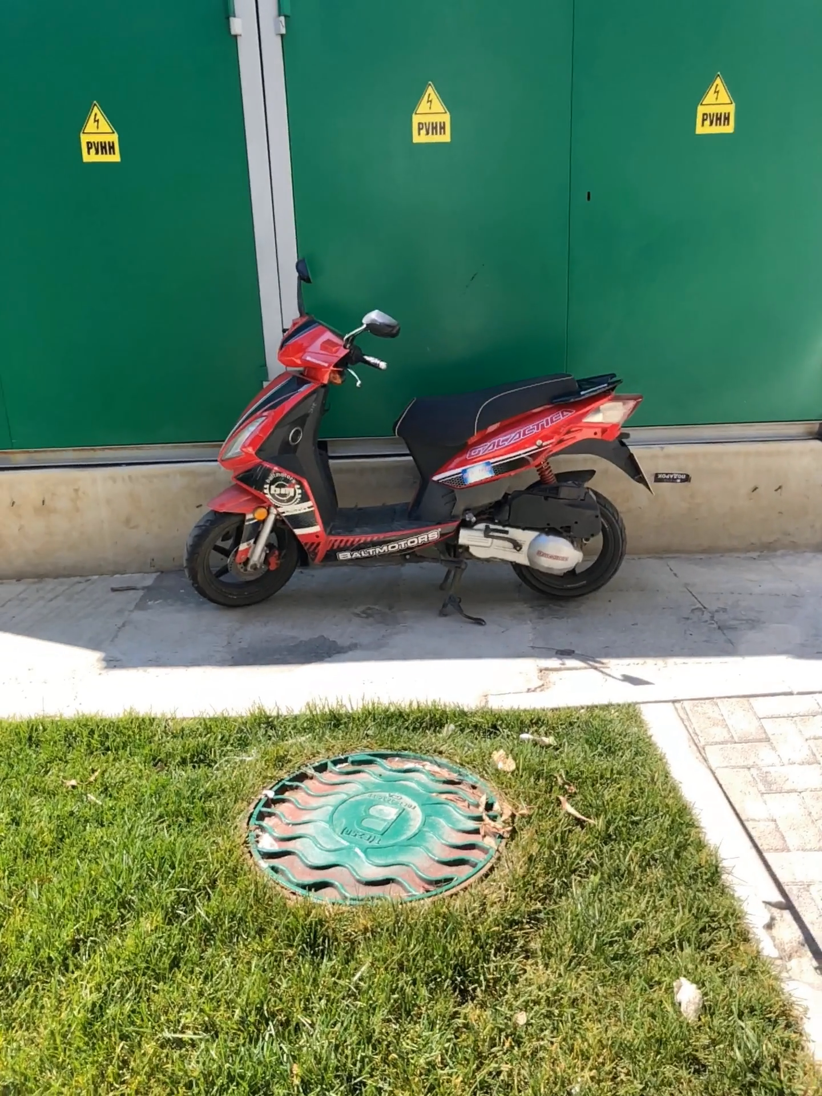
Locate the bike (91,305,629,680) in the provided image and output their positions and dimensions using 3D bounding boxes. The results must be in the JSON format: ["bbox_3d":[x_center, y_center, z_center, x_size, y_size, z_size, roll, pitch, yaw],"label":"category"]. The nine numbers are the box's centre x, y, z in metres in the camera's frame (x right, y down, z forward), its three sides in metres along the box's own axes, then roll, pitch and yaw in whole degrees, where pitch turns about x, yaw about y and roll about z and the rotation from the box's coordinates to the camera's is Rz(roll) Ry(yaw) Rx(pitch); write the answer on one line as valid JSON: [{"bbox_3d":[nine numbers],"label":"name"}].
[{"bbox_3d":[-0.057,-0.218,3.110,1.590,1.086,0.591,-3,17,1],"label":"bike"}]
